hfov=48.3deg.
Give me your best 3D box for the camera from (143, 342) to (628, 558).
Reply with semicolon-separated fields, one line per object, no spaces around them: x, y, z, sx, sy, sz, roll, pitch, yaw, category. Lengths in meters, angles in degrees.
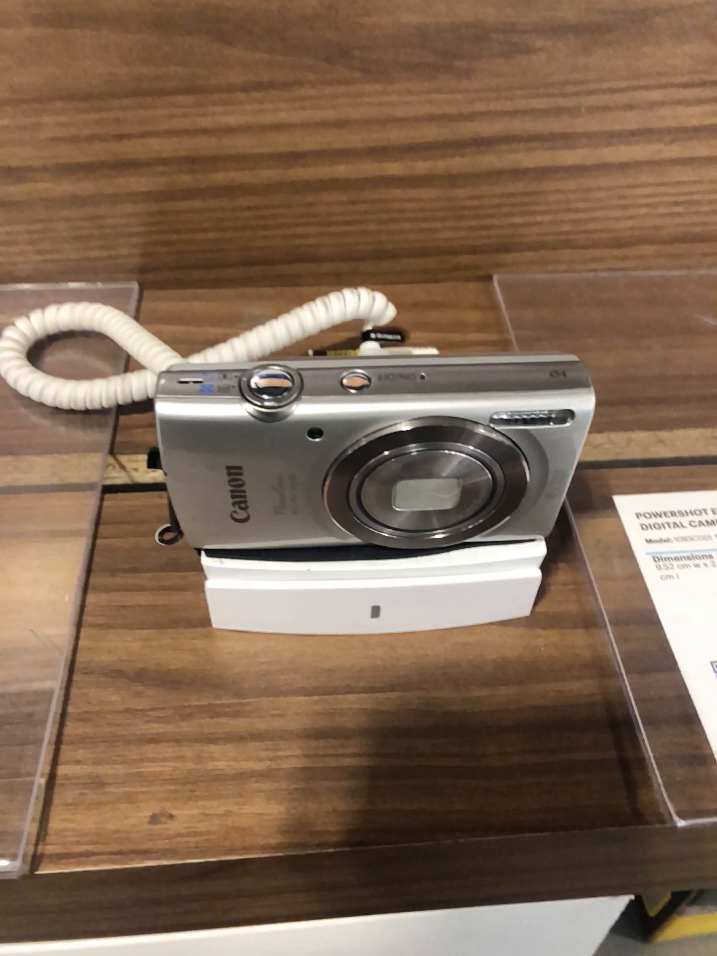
0.005;-0.005;0.190;0.100;0.050;0.020;-2;50;-2;camera
